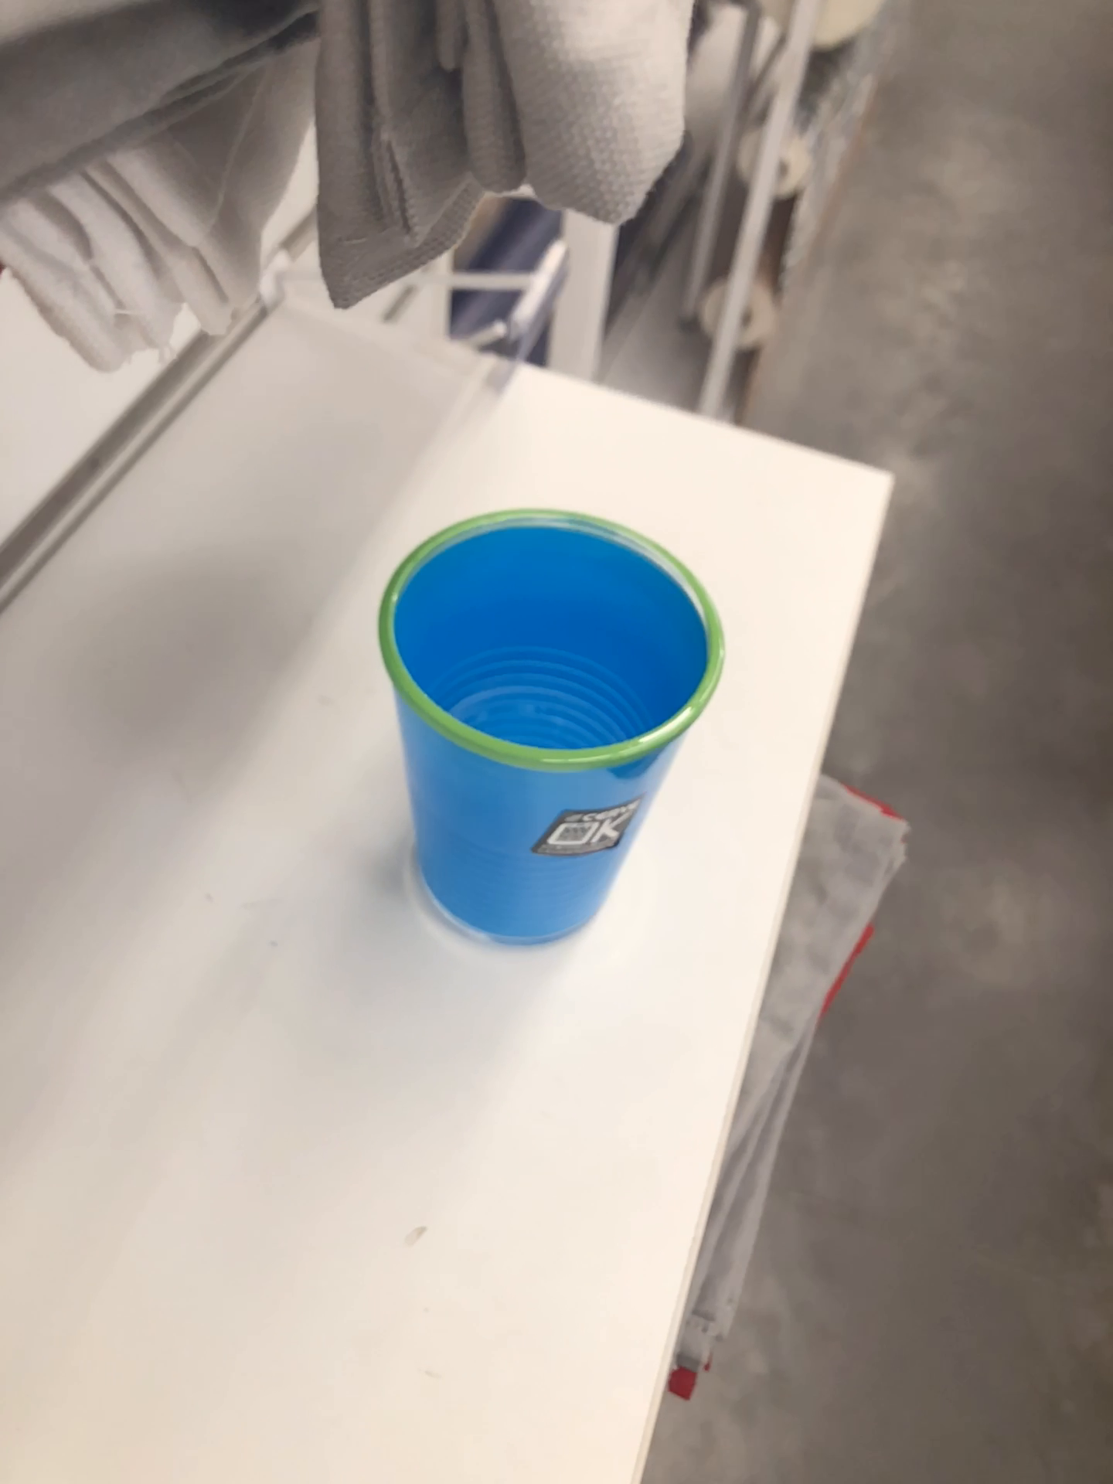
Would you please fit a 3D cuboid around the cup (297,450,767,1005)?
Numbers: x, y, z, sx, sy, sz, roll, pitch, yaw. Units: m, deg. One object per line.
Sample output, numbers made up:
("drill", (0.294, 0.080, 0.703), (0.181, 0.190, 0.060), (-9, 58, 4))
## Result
("cup", (-0.007, -0.003, 0.316), (0.083, 0.090, 0.081), (4, 51, -5))
